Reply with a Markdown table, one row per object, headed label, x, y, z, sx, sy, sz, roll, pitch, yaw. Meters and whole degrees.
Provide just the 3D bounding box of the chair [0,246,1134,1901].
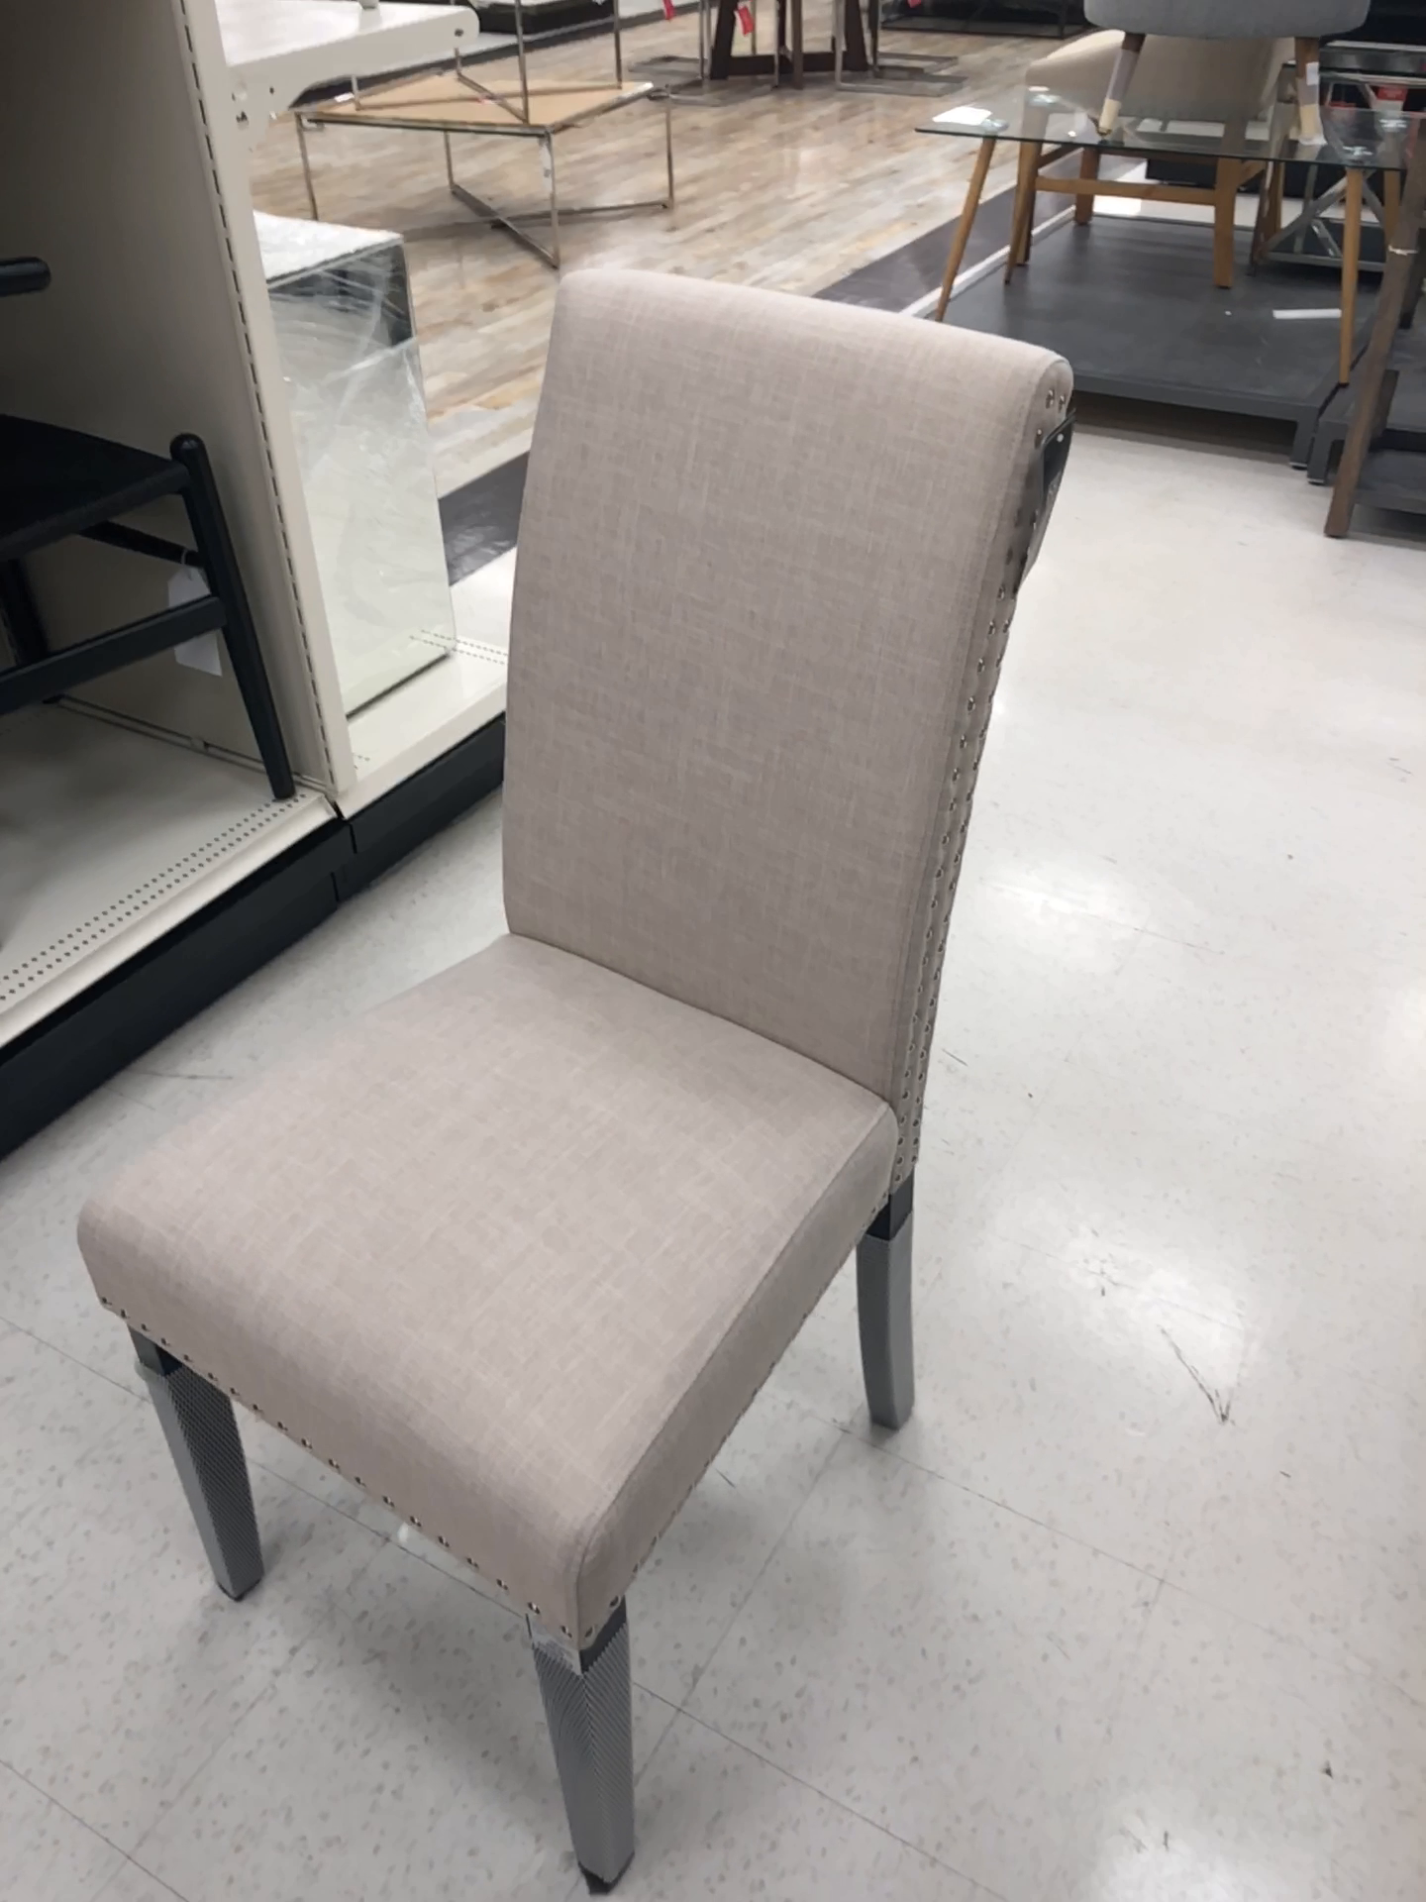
| label | x | y | z | sx | sy | sz | roll | pitch | yaw |
| --- | --- | --- | --- | --- | --- | --- | --- | --- | --- |
| chair | -0.106 | 0.107 | 1.155 | 0.487 | 1.006 | 0.558 | 23 | 43 | 29 |
